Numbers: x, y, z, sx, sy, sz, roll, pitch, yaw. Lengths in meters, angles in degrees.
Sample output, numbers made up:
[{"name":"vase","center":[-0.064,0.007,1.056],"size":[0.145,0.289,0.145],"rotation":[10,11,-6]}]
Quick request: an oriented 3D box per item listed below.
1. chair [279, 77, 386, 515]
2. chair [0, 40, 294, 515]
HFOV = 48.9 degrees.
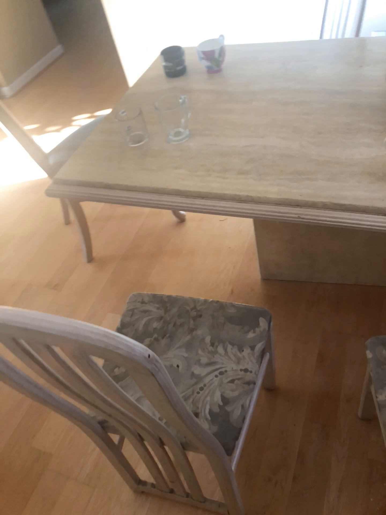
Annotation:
[{"name":"chair","center":[0.484,0.320,0.917],"size":[0.480,1.142,0.564],"rotation":[2,47,17]},{"name":"chair","center":[-0.051,0.191,1.055],"size":[0.480,1.142,0.564],"rotation":[5,50,20]}]
